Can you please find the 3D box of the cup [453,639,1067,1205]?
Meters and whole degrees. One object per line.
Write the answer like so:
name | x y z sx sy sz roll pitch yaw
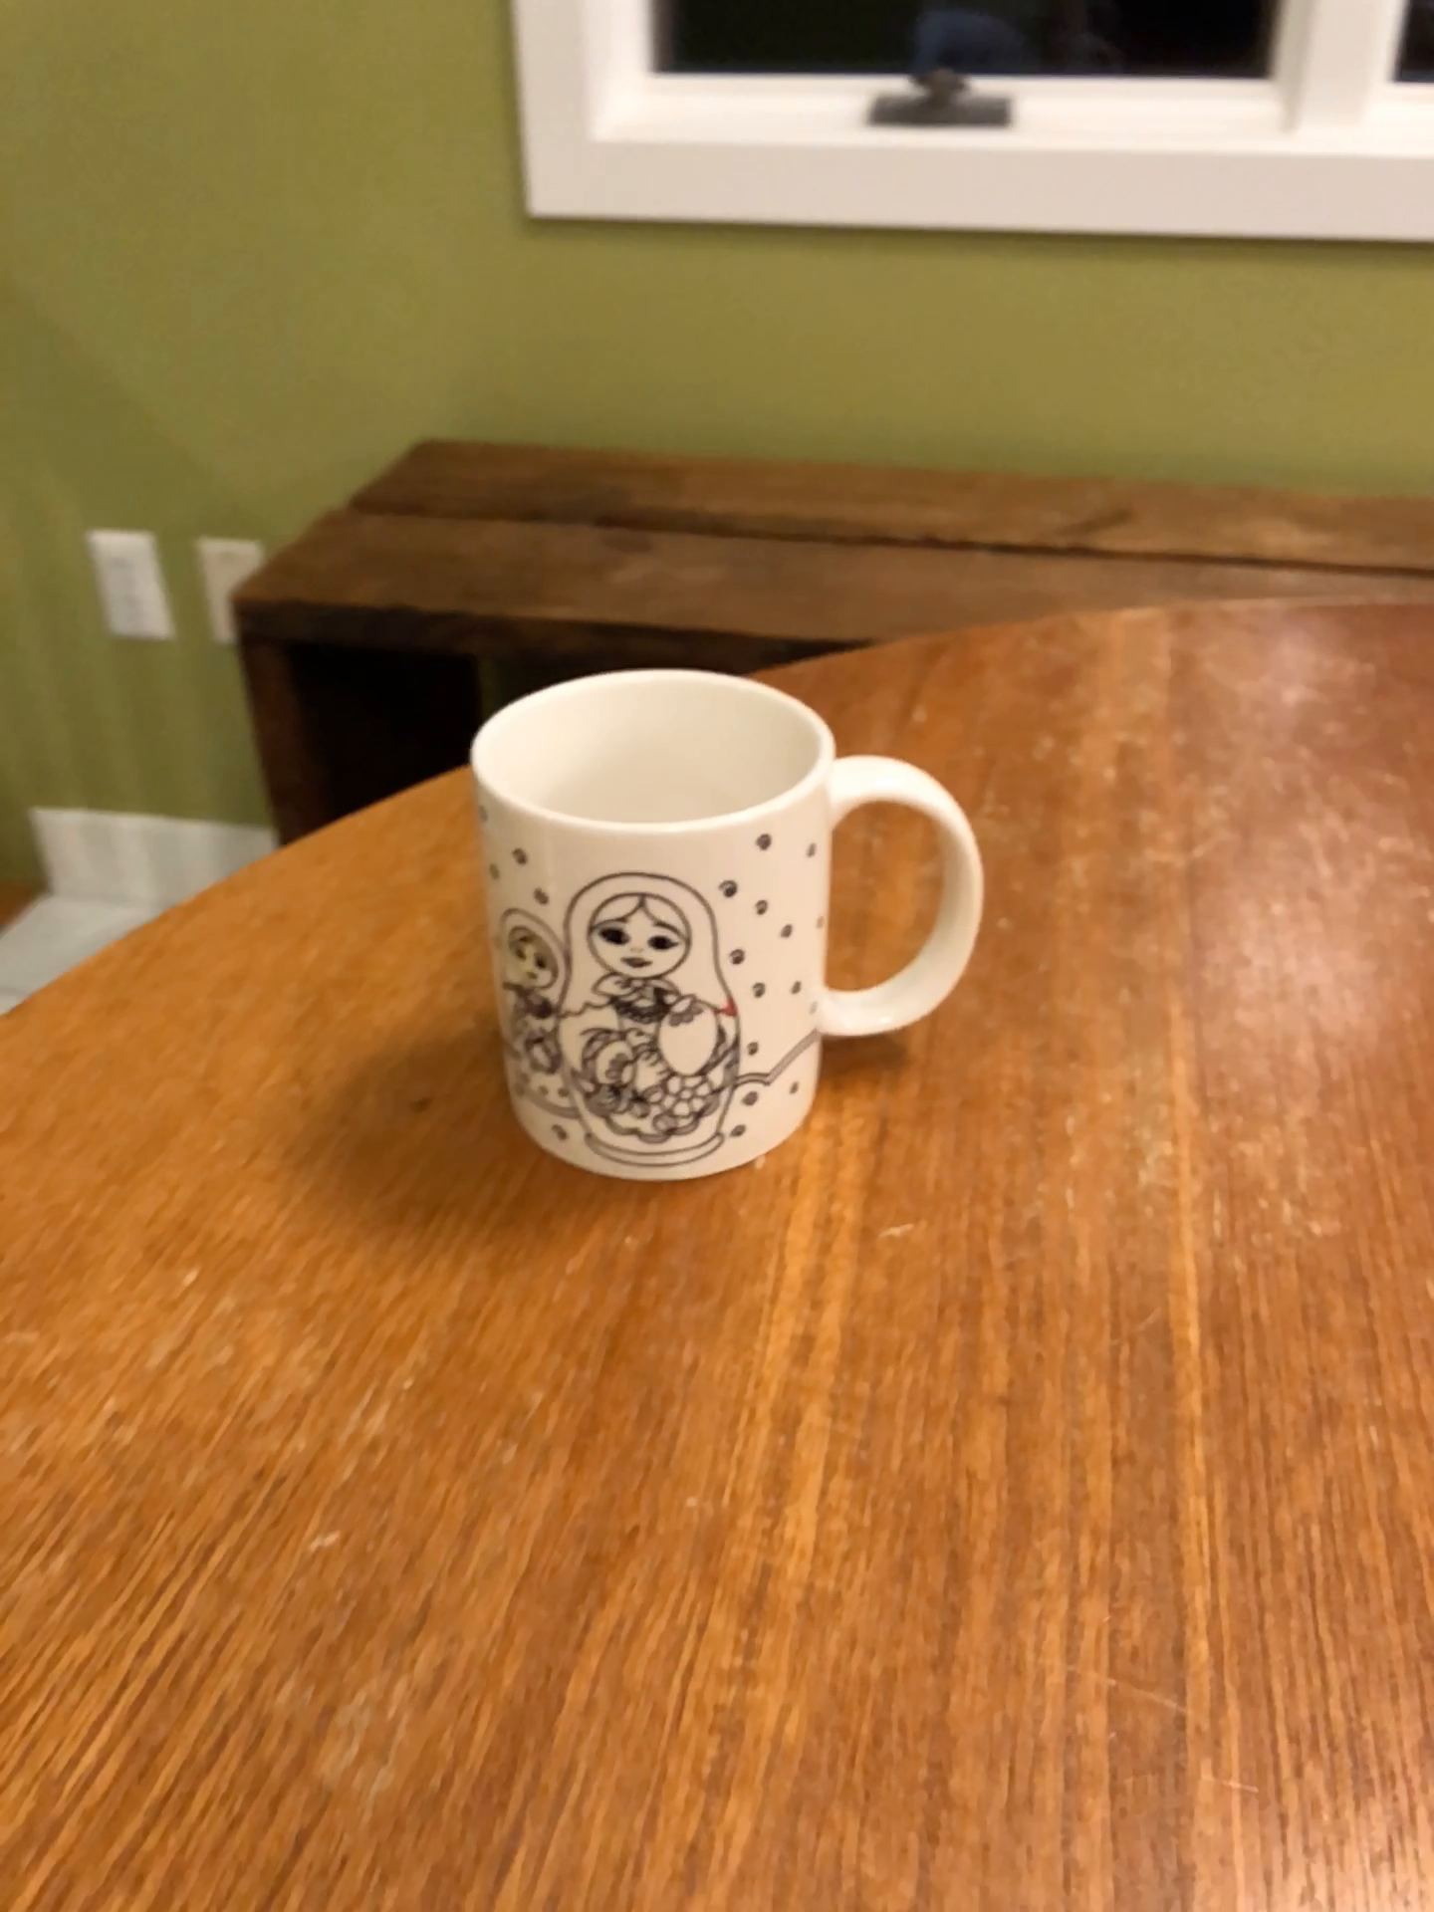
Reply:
cup | 0.006 -0.011 0.390 0.126 0.099 0.088 -4 33 -4
